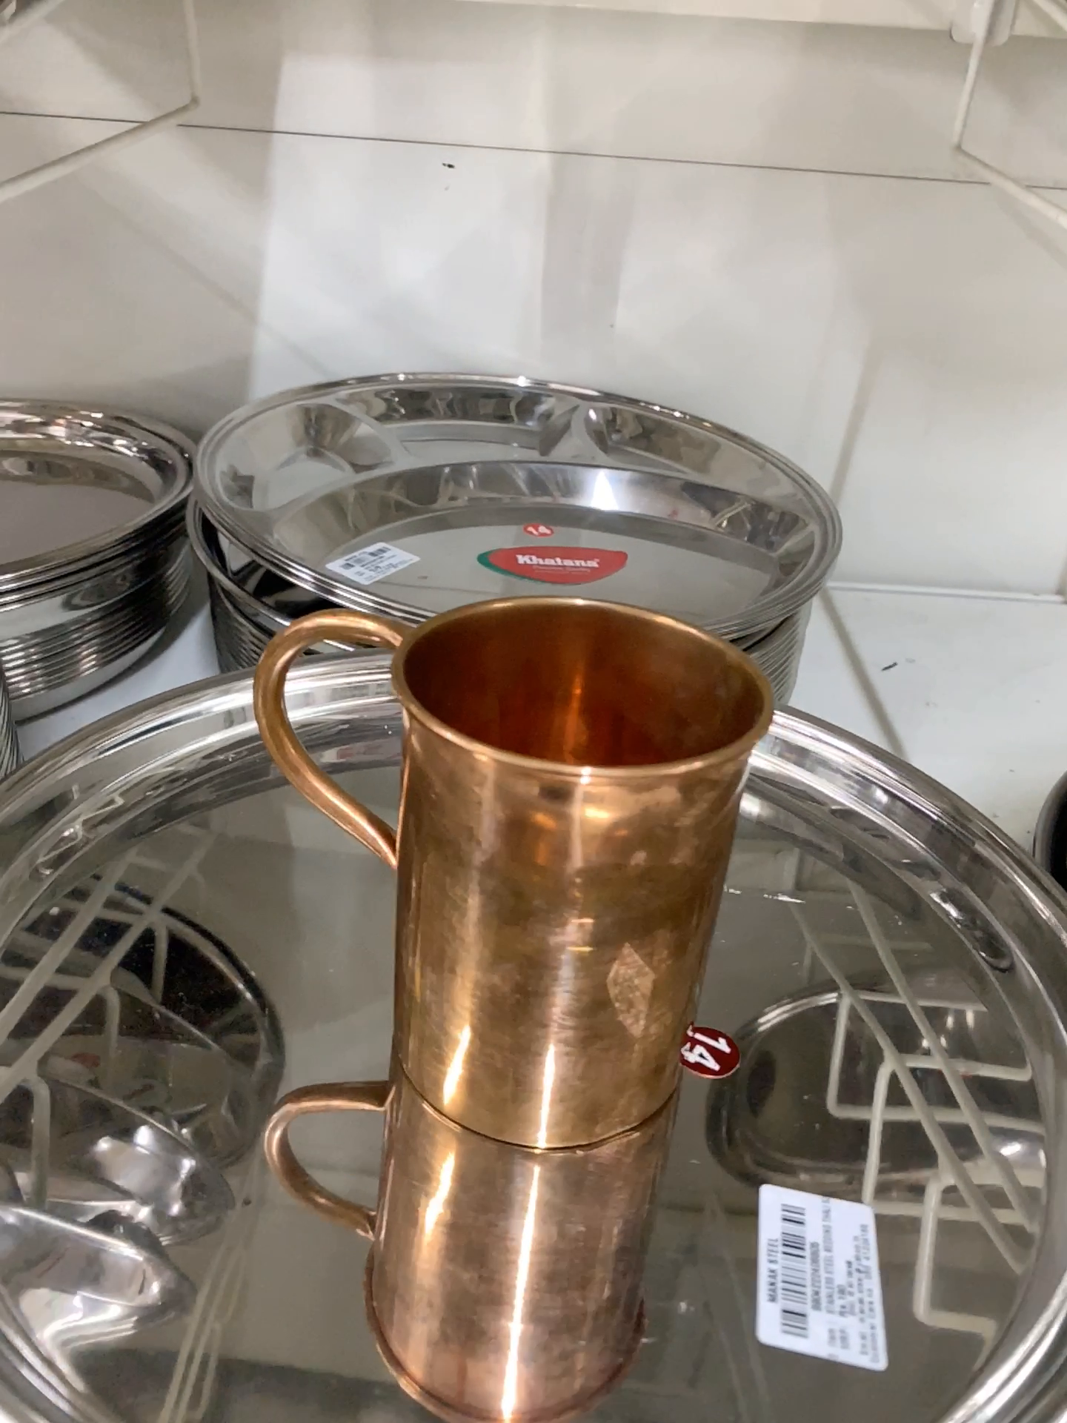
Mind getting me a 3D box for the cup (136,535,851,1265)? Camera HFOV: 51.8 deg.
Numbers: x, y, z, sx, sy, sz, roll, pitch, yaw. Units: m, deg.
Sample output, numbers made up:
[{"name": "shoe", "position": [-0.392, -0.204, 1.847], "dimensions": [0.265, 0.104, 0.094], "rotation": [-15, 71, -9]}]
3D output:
[{"name": "cup", "position": [-0.006, 0.039, 0.260], "dimensions": [0.130, 0.119, 0.080], "rotation": [12, 33, 13]}]
